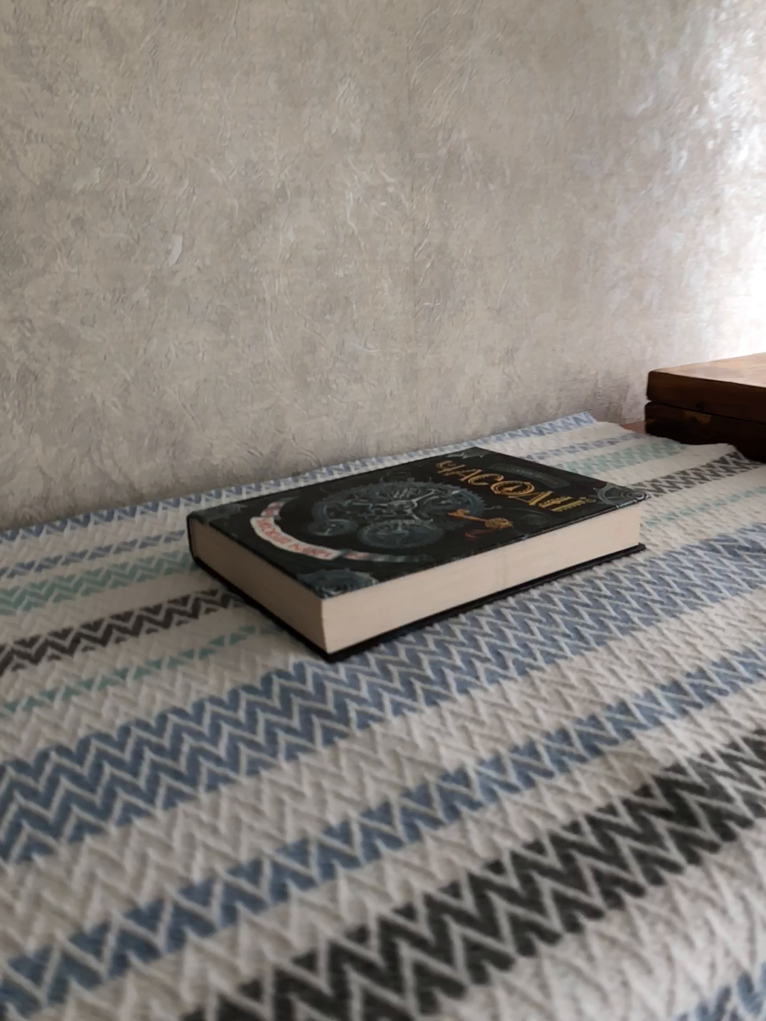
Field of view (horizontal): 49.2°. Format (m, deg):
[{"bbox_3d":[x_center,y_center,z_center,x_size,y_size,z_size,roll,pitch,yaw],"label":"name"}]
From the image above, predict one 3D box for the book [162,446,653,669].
[{"bbox_3d":[0.013,0.011,0.510,0.238,0.032,0.178,-14,21,-32],"label":"book"}]
